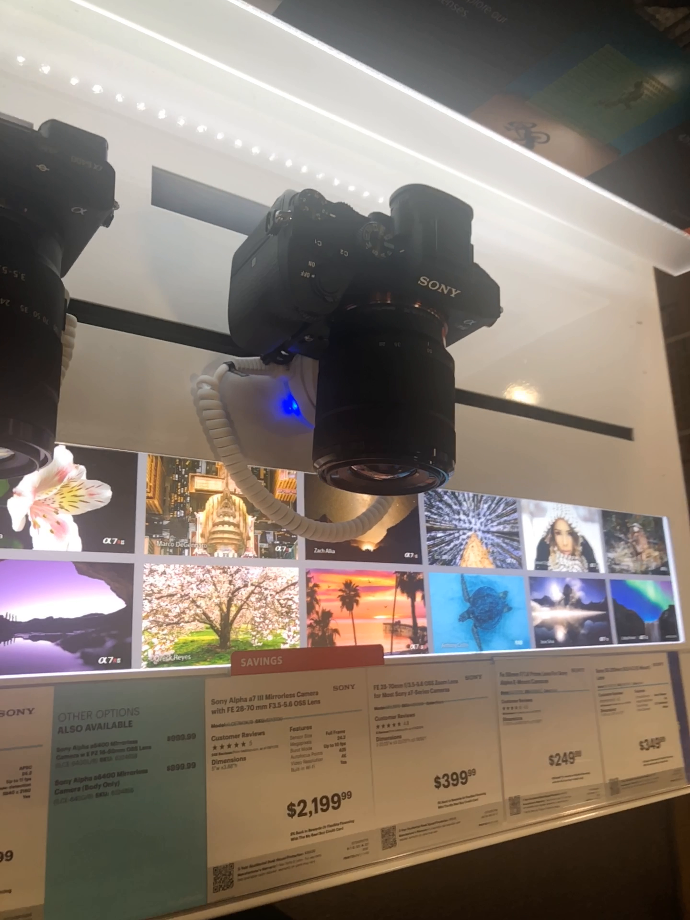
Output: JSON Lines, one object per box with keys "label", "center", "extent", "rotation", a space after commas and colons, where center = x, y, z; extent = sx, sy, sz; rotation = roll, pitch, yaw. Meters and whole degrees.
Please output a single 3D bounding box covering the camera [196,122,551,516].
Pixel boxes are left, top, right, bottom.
{"label": "camera", "center": [0.013, -0.054, 0.374], "extent": [0.141, 0.089, 0.140], "rotation": [8, 73, -36]}
